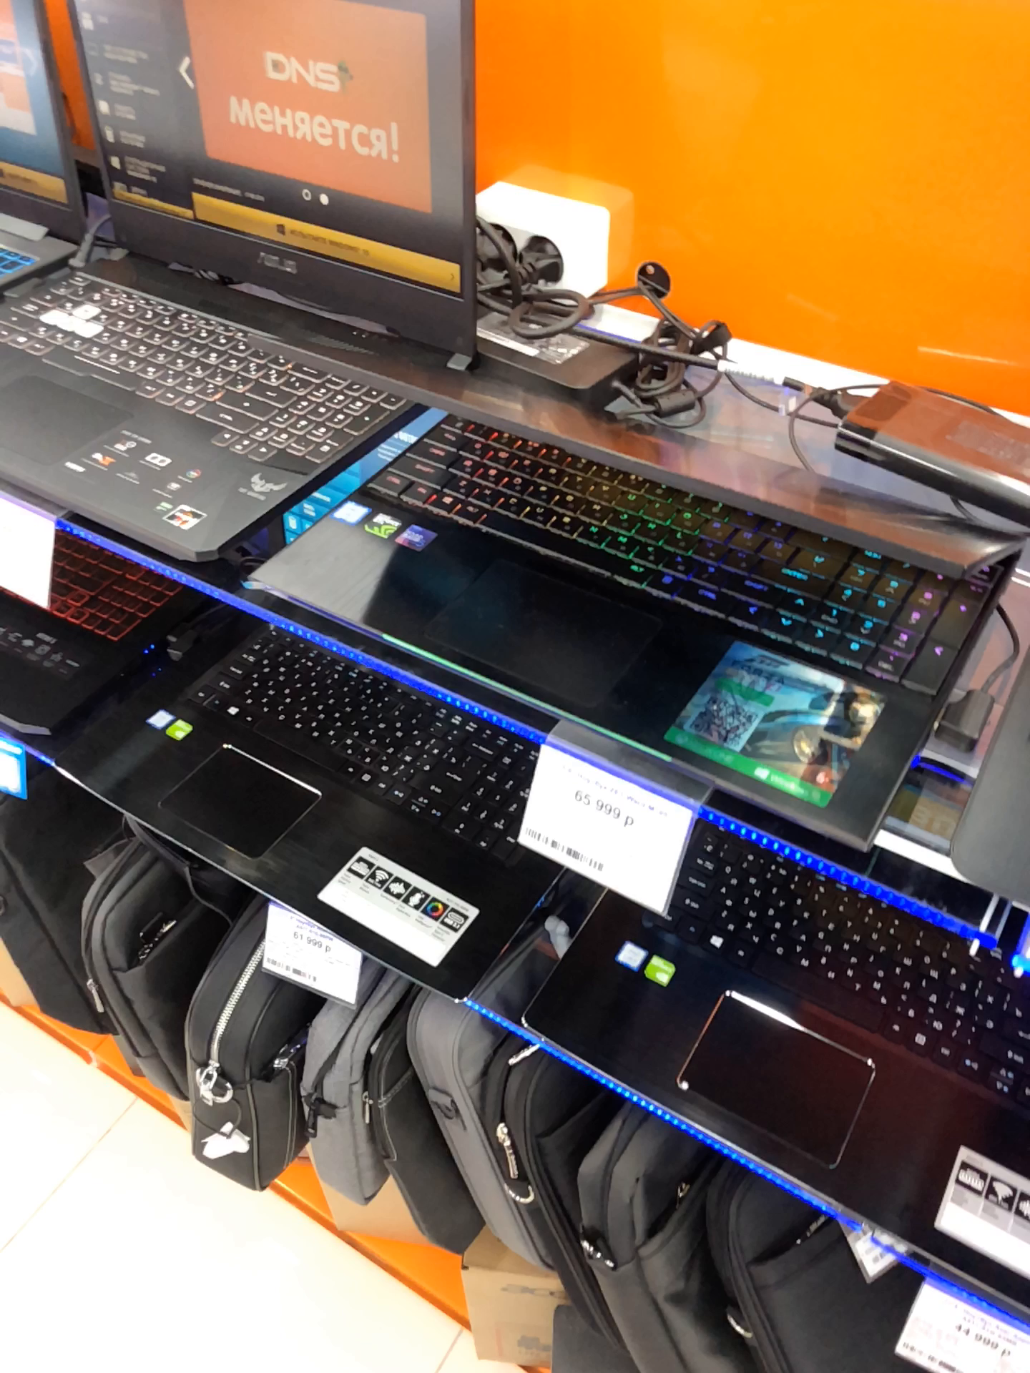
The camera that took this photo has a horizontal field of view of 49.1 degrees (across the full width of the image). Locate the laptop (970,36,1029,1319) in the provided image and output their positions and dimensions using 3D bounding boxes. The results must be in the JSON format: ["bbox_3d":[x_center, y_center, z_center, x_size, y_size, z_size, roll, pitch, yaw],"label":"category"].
[{"bbox_3d":[0.409,-0.047,0.424,0.335,0.252,0.307,23,48,23],"label":"laptop"}]

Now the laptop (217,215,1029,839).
[{"bbox_3d":[0.066,-0.112,0.595,0.360,0.118,0.234,23,51,24],"label":"laptop"}]
